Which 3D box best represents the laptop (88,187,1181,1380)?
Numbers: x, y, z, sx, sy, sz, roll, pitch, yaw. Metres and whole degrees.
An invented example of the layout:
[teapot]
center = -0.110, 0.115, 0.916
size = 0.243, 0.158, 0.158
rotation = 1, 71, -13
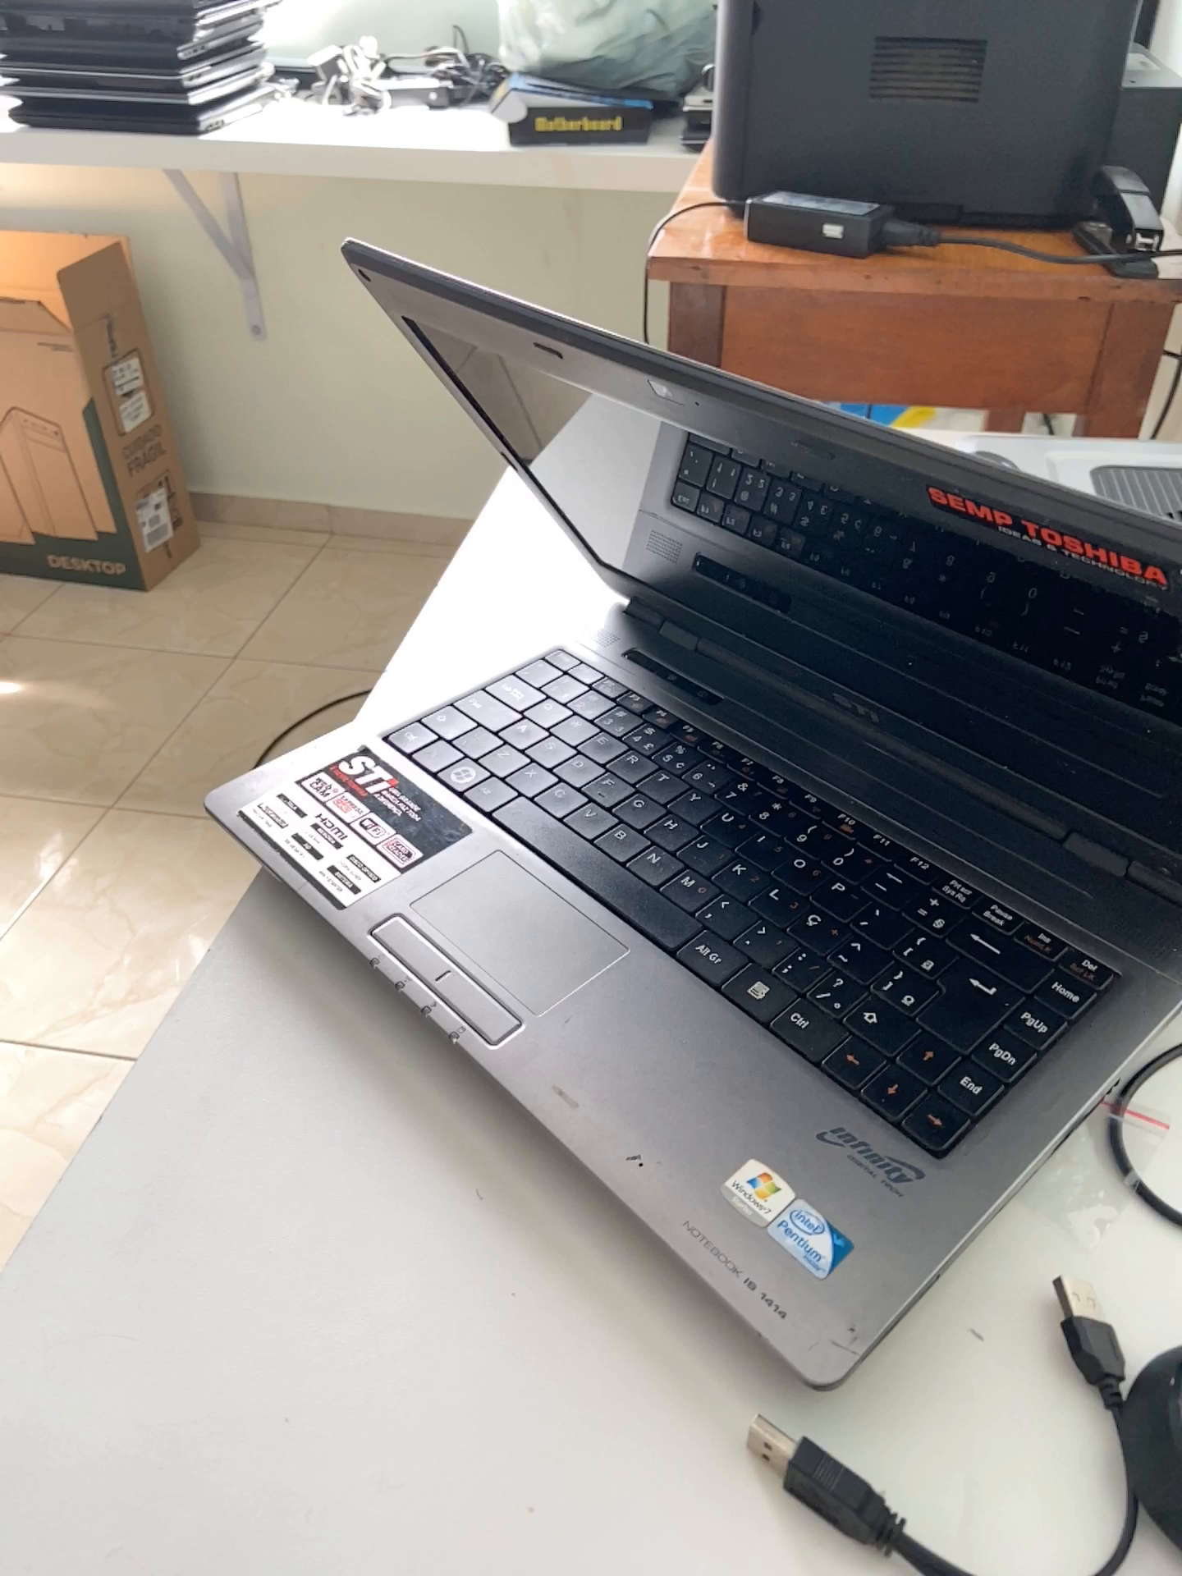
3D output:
[laptop]
center = 0.037, -0.051, 0.429
size = 0.242, 0.200, 0.343
rotation = -30, 47, -31
